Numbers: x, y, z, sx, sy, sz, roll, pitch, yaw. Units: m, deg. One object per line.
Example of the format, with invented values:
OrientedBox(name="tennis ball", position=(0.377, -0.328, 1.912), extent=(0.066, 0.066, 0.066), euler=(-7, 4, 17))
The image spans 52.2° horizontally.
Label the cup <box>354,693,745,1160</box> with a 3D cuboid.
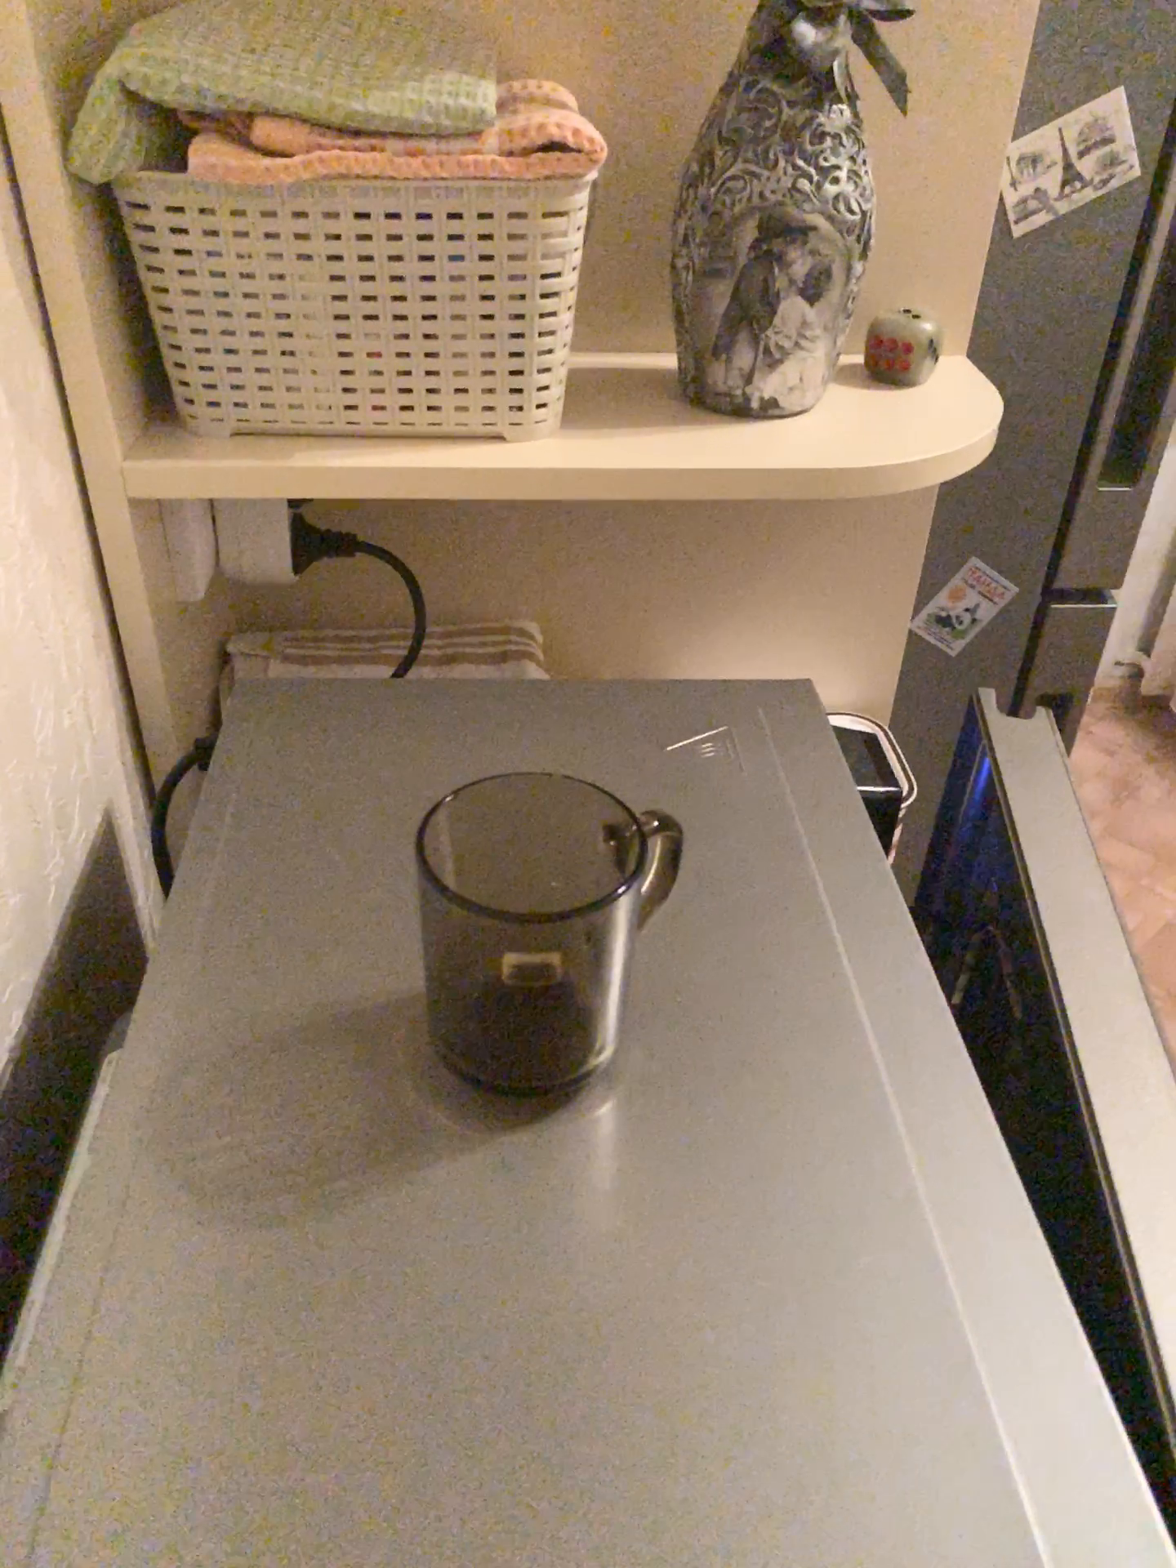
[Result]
OrientedBox(name="cup", position=(-0.011, 0.043, 0.405), extent=(0.078, 0.094, 0.102), euler=(25, 41, 27))
